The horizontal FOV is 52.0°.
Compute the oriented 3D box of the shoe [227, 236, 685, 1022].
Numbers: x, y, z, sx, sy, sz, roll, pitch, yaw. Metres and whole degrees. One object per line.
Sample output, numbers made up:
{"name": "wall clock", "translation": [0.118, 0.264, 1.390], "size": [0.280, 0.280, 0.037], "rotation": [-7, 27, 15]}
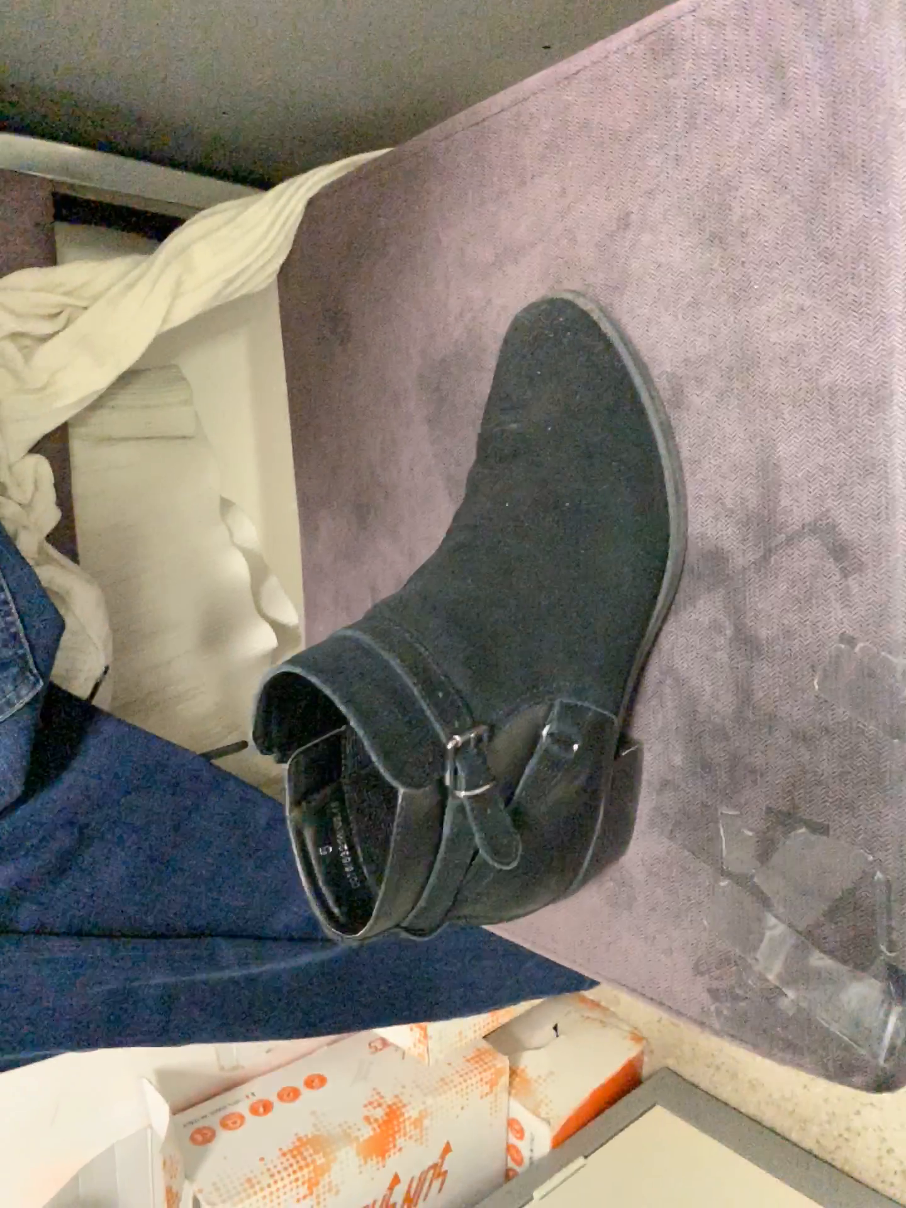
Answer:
{"name": "shoe", "translation": [0.005, 0.003, 0.358], "size": [0.101, 0.137, 0.235], "rotation": [7, 100, 47]}
